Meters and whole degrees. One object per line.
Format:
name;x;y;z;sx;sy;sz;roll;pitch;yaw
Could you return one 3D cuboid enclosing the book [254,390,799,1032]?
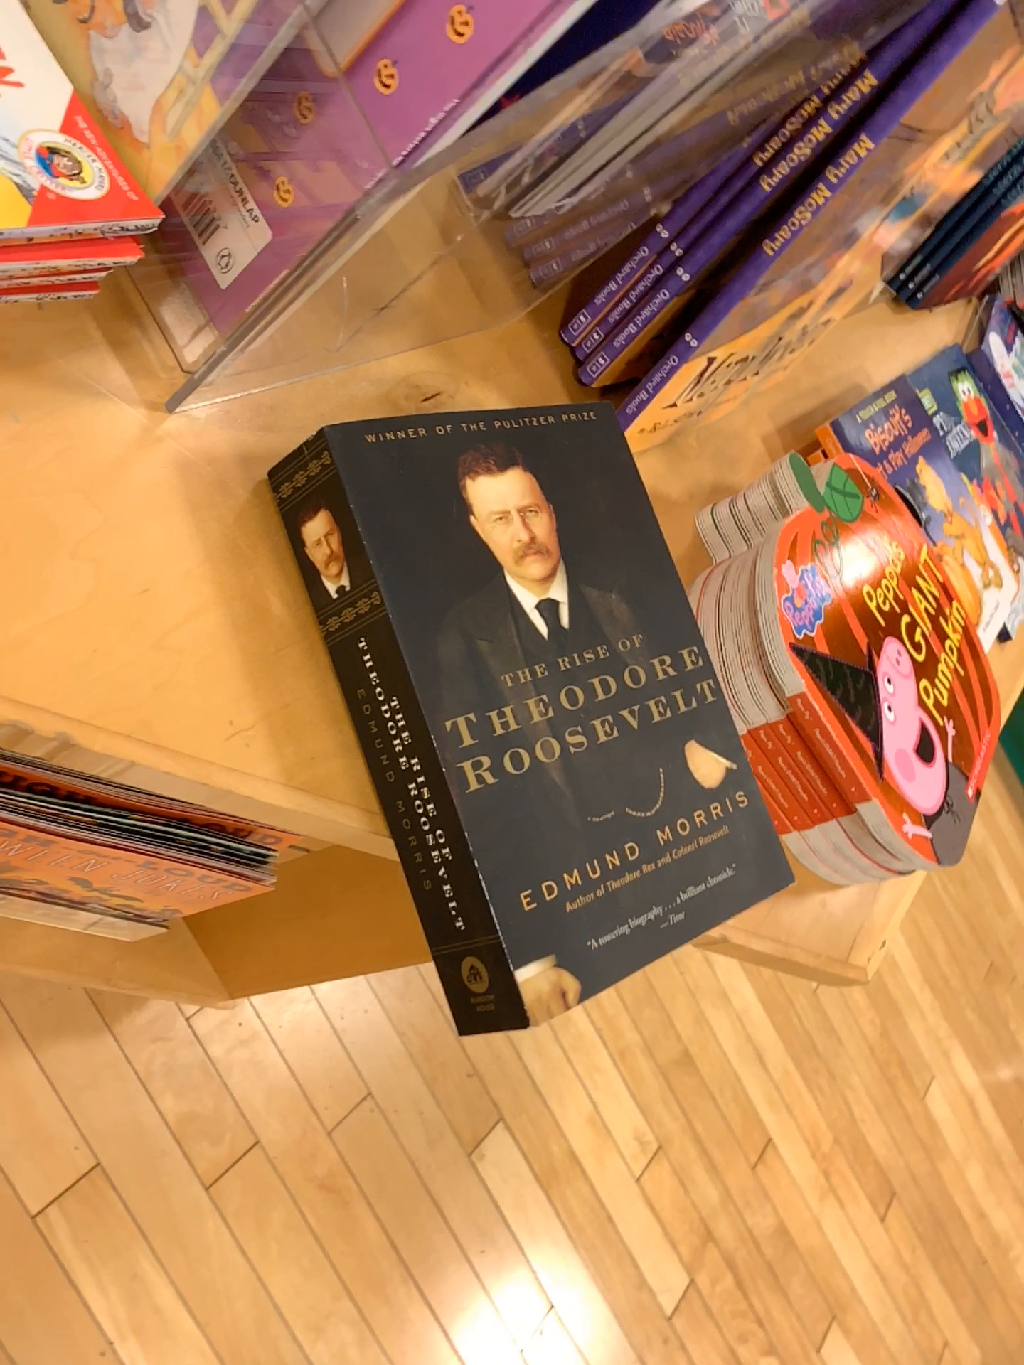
book;0.010;0.002;0.378;0.131;0.066;0.195;-15;84;-46
